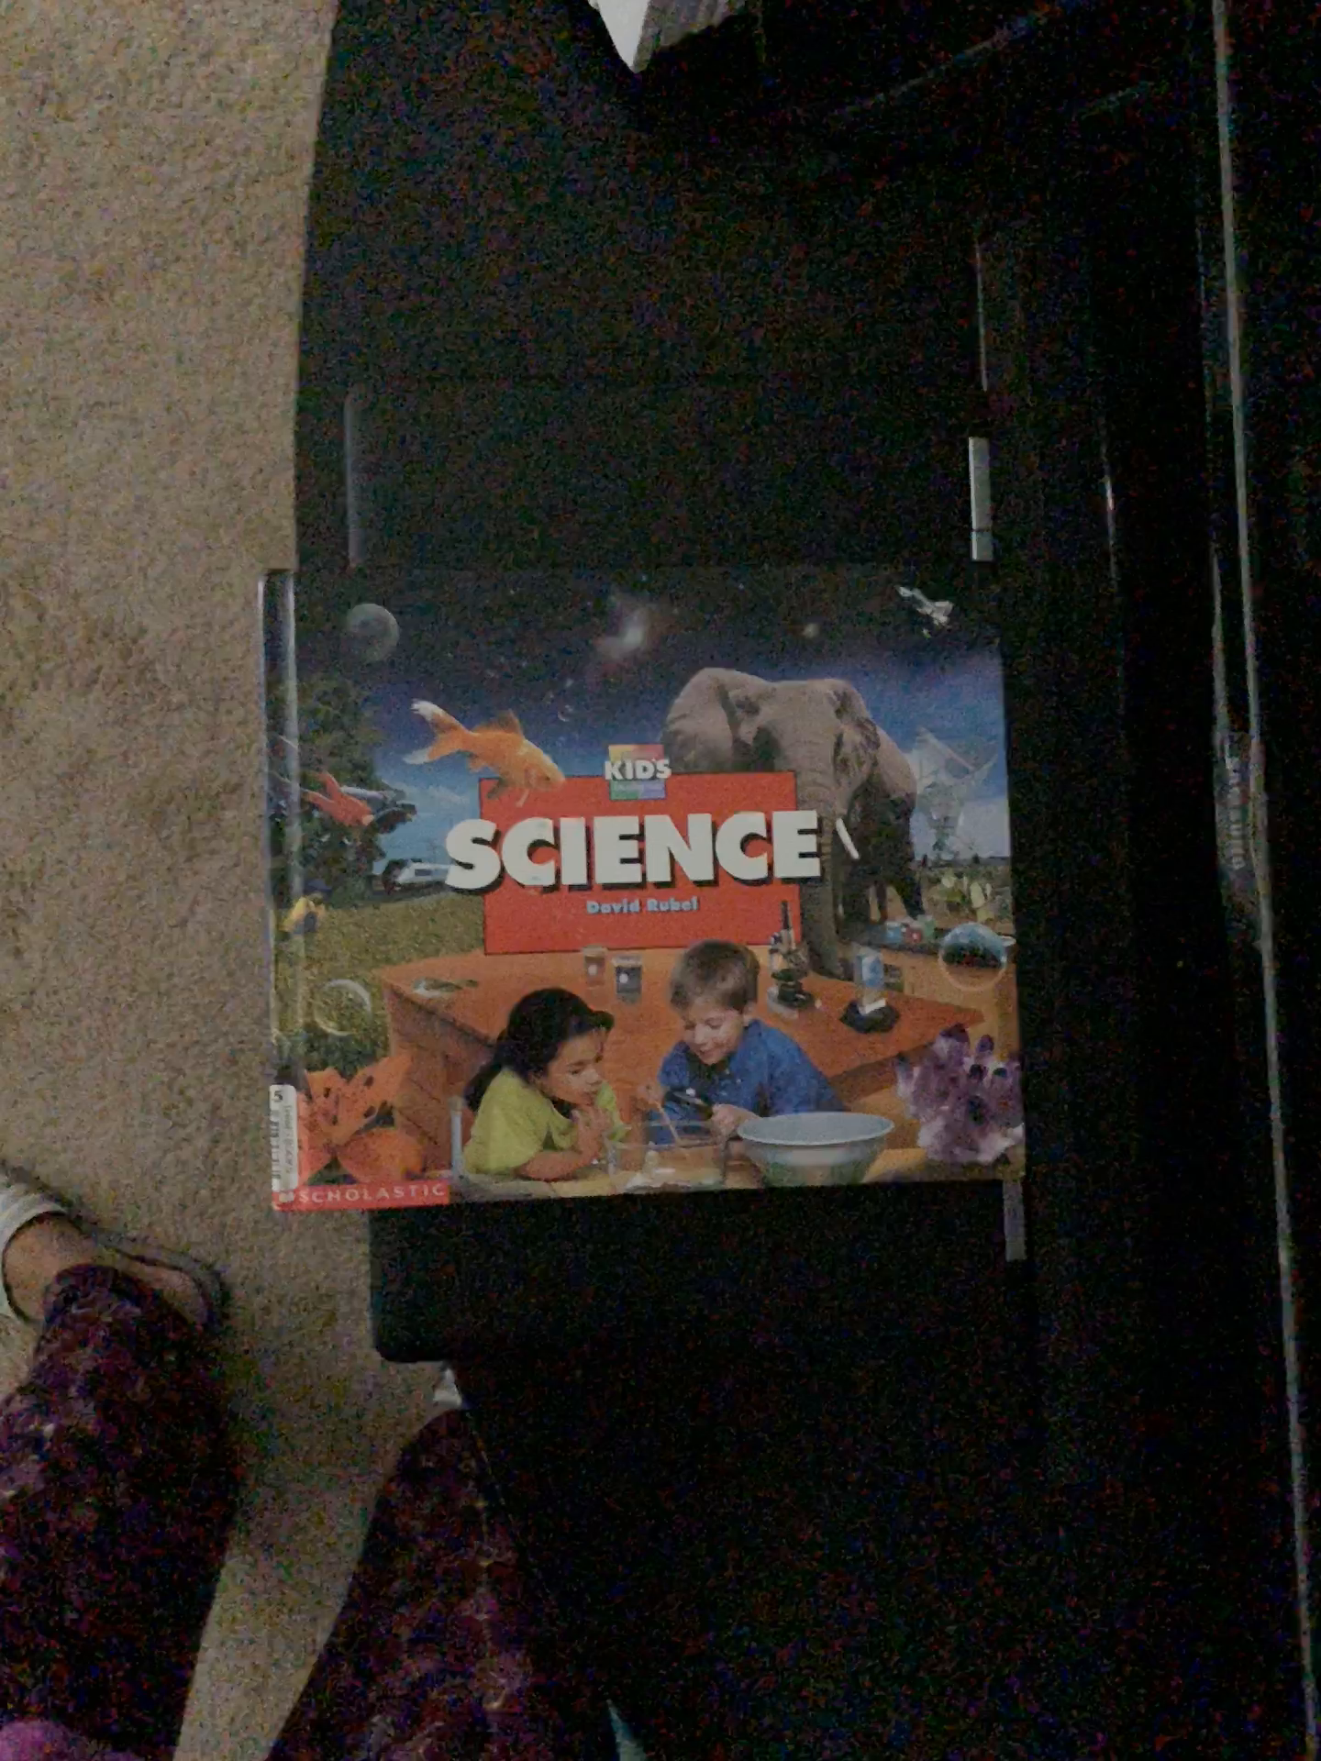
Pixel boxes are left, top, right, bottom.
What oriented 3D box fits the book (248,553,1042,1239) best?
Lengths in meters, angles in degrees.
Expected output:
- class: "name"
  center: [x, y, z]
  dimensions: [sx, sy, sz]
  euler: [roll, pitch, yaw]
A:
- class: "book"
  center: [-0.005, 0.003, 0.505]
  dimensions: [0.280, 0.030, 0.240]
  euler: [-2, 88, -3]
